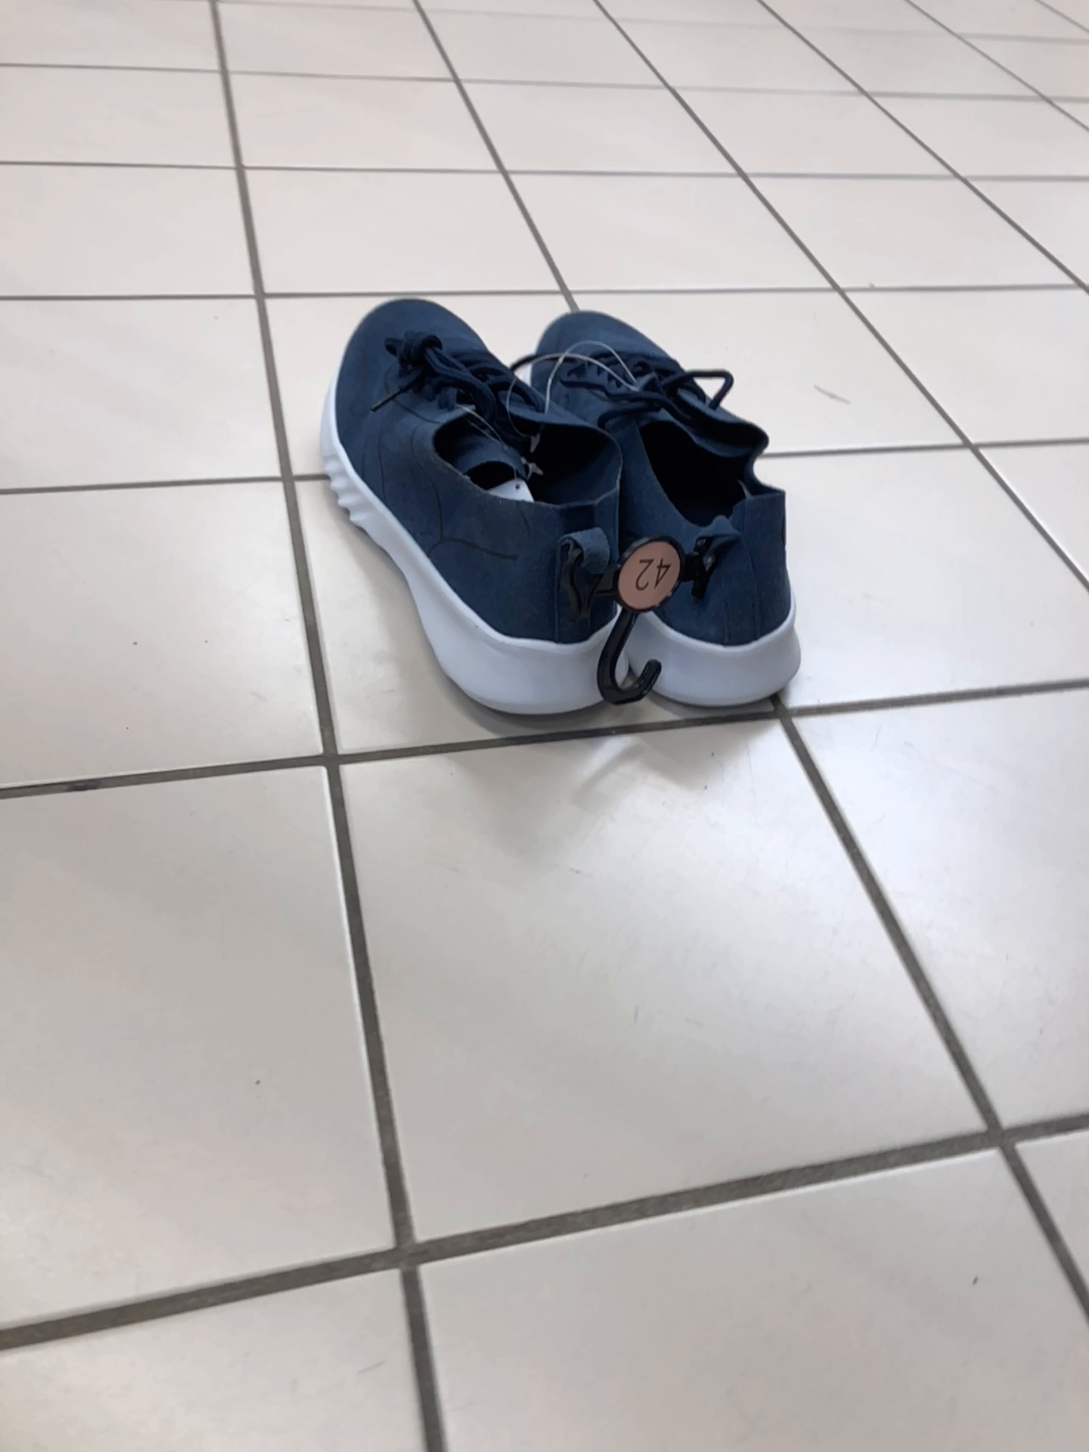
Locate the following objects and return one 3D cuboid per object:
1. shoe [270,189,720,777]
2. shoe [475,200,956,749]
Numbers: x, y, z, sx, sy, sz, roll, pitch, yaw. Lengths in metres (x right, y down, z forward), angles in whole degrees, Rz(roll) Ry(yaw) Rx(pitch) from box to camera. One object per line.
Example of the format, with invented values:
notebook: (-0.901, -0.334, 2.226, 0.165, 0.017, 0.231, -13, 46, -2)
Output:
shoe: (-0.041, -0.130, 0.562, 0.100, 0.119, 0.291, -12, 48, -20)
shoe: (0.059, -0.138, 0.579, 0.100, 0.109, 0.291, -10, 47, -17)
